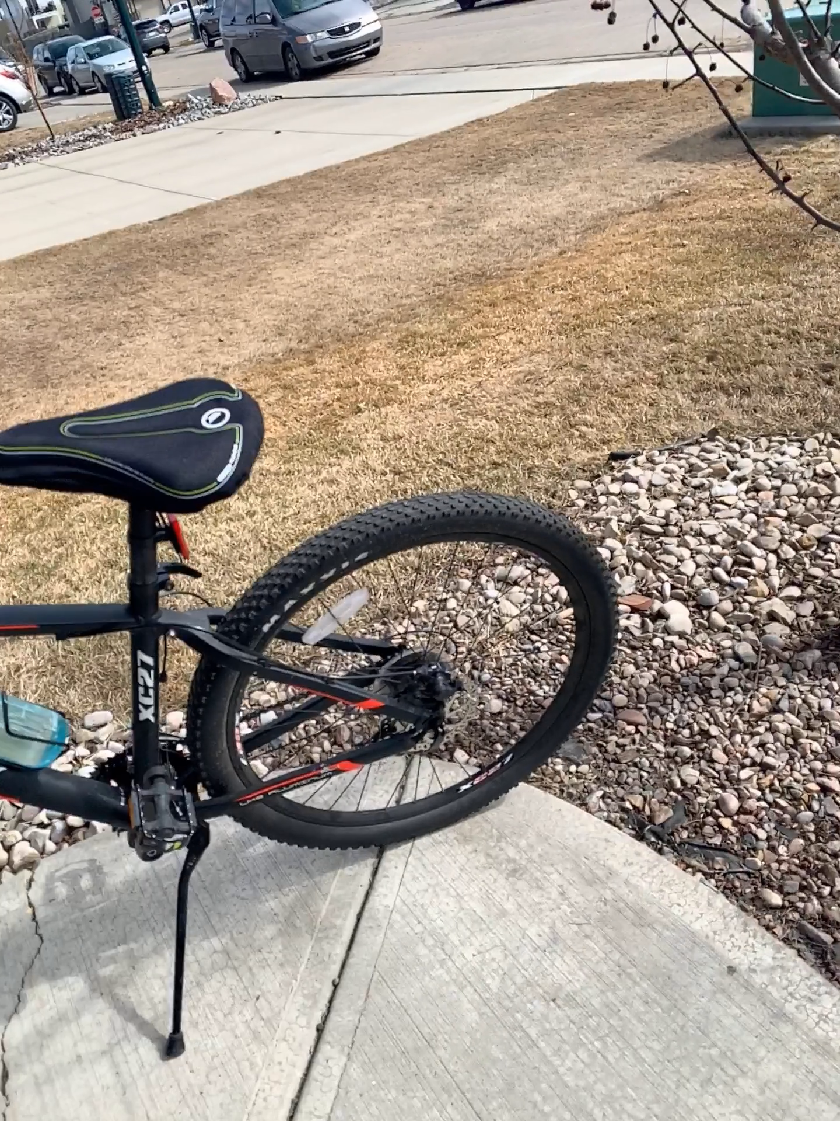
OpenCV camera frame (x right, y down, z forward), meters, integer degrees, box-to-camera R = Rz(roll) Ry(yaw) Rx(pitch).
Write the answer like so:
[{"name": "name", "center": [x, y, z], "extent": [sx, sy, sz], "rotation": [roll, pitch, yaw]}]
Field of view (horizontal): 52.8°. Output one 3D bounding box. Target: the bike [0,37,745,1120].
[{"name": "bike", "center": [-0.426, 0.260, 0.916], "extent": [1.480, 1.004, 0.603], "rotation": [-27, 36, -13]}]
